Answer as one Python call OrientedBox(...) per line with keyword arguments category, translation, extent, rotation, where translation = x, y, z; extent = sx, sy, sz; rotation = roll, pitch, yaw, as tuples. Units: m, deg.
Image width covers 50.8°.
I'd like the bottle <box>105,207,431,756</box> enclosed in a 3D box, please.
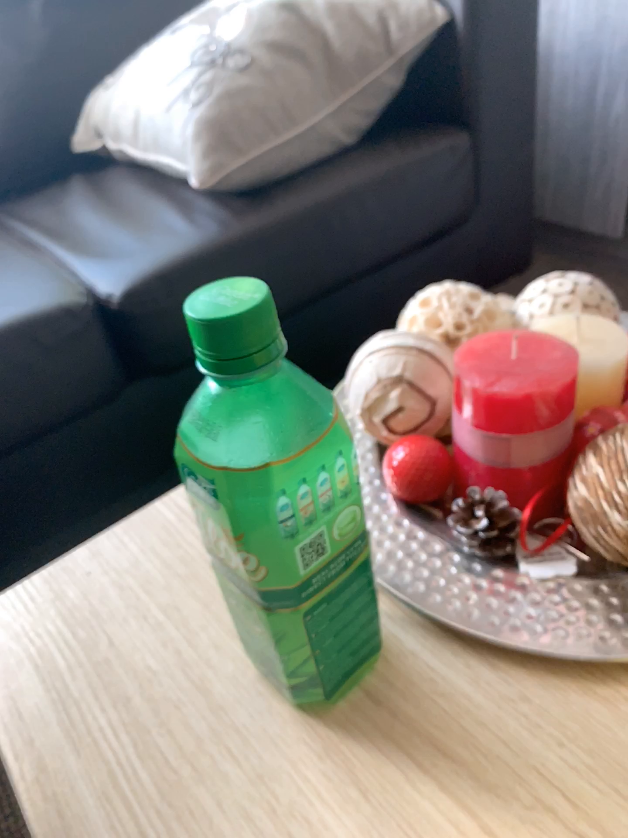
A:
OrientedBox(category="bottle", translation=(-0.005, 0.036, 0.277), extent=(0.070, 0.218, 0.070), rotation=(-6, 36, 5))
